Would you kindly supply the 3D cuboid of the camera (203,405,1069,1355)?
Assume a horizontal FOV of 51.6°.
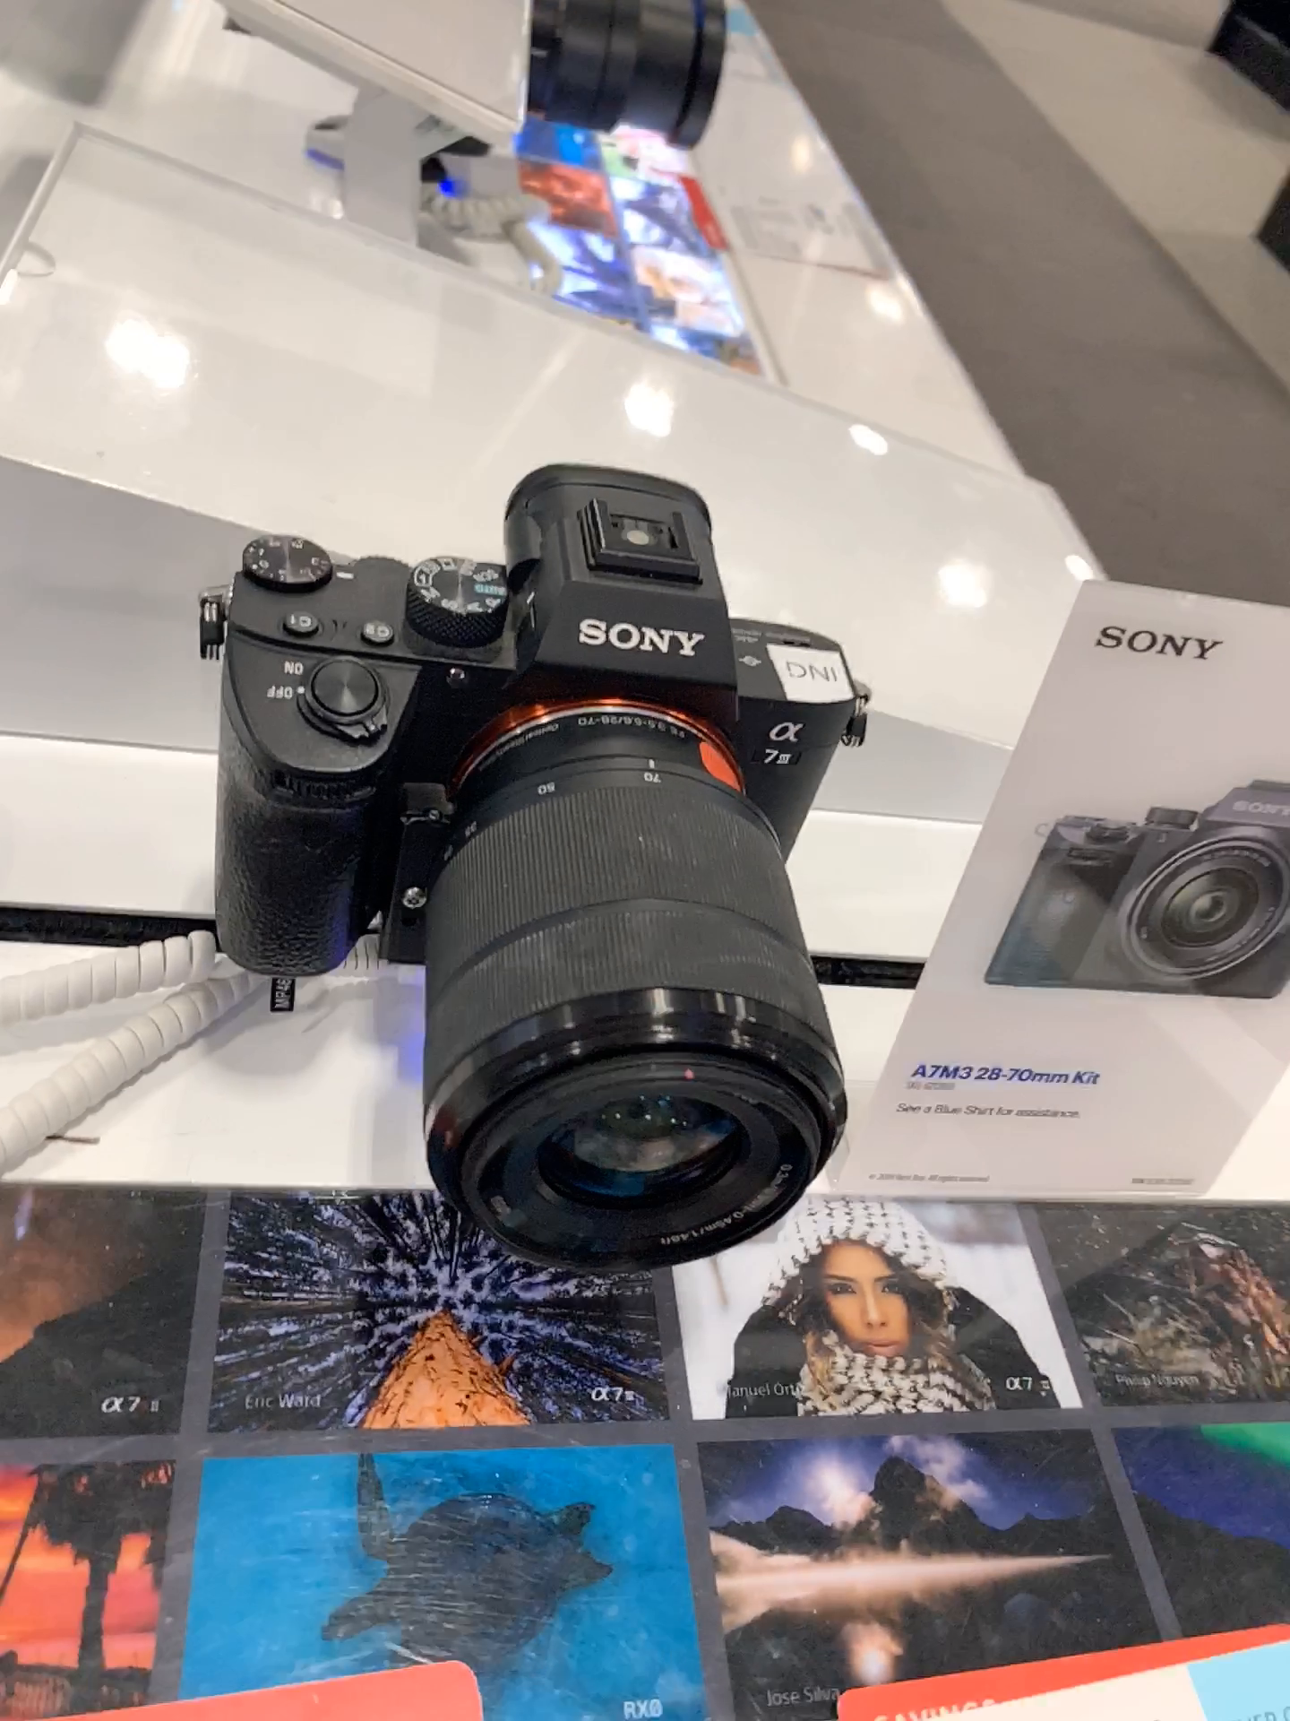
[{"bbox_3d":[-0.019,0.002,0.257,0.119,0.100,0.141,2,47,-17],"label":"camera"}]
